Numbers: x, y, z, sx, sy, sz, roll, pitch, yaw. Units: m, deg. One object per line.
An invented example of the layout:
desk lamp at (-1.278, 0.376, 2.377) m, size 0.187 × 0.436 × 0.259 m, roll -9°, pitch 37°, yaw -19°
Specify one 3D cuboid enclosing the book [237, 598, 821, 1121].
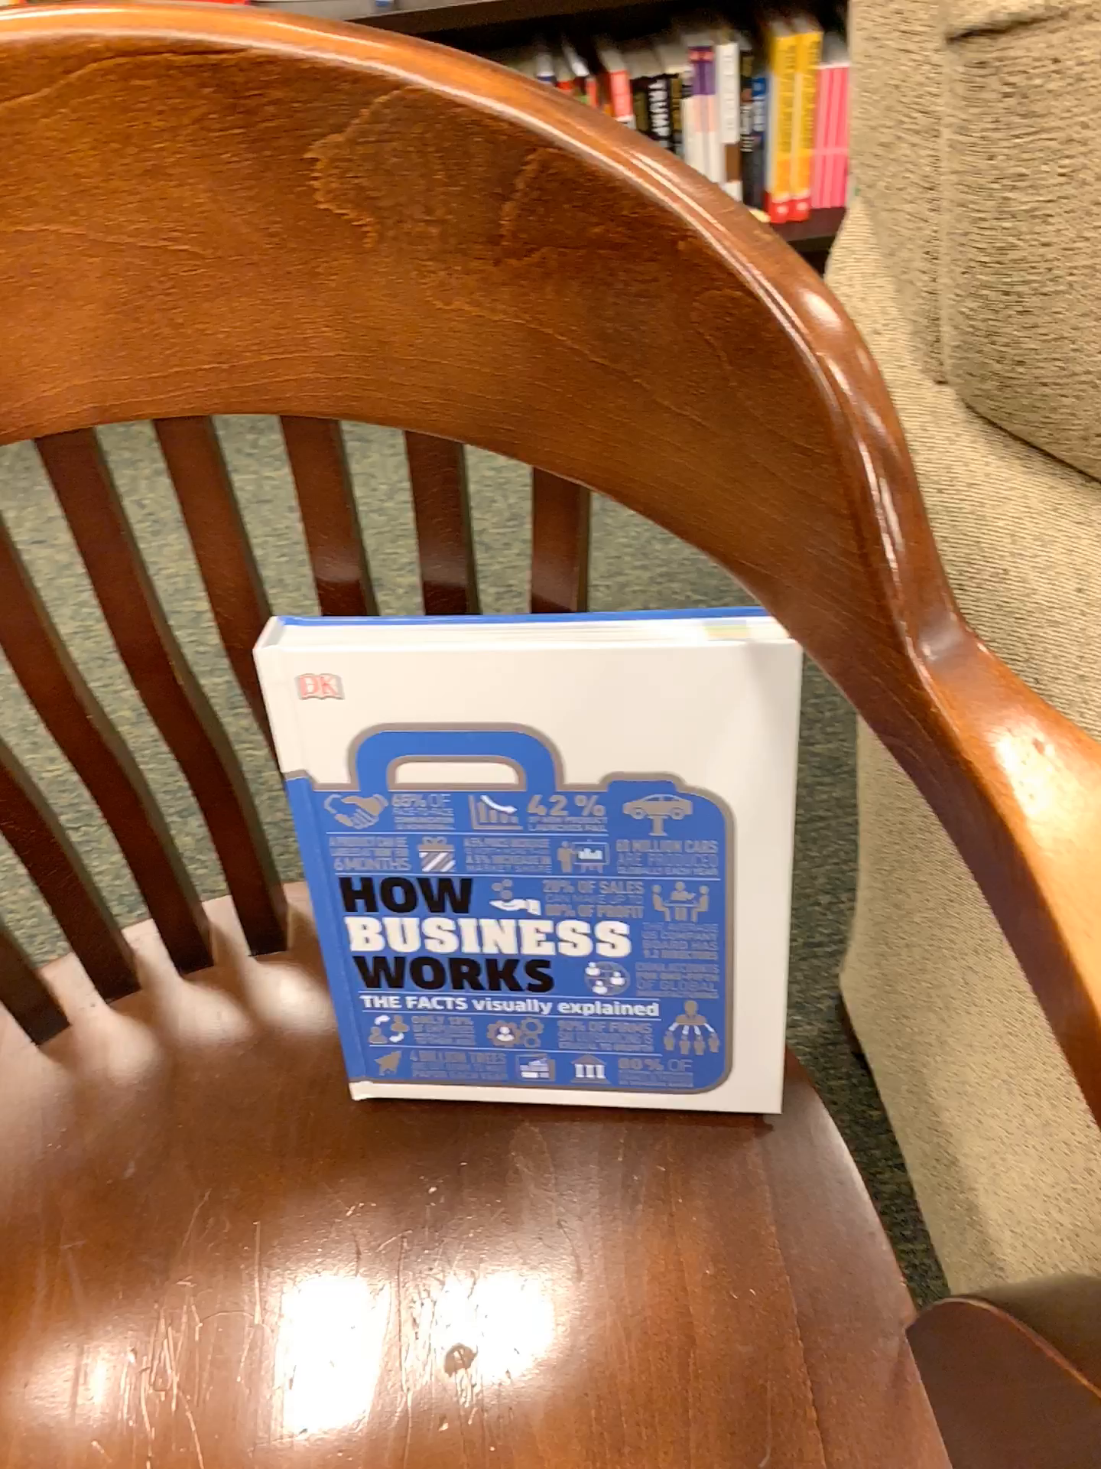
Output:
book at (-0.002, 0.063, 0.486) m, size 0.211 × 0.246 × 0.039 m, roll 0°, pitch 32°, yaw 6°
